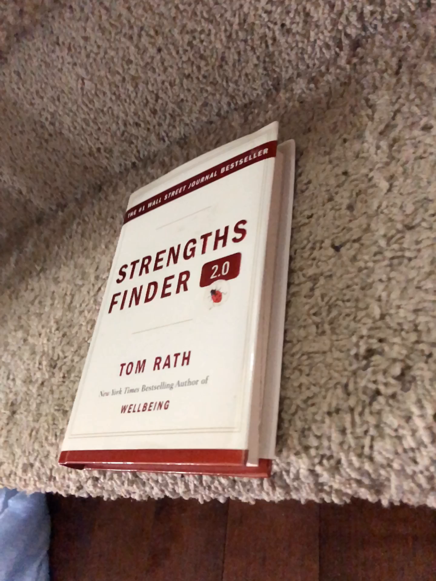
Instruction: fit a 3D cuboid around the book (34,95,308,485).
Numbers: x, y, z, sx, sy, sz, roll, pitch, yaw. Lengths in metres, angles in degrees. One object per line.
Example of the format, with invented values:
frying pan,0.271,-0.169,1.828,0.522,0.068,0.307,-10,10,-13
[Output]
book,-0.022,0.000,0.264,0.137,0.029,0.190,-15,55,37
